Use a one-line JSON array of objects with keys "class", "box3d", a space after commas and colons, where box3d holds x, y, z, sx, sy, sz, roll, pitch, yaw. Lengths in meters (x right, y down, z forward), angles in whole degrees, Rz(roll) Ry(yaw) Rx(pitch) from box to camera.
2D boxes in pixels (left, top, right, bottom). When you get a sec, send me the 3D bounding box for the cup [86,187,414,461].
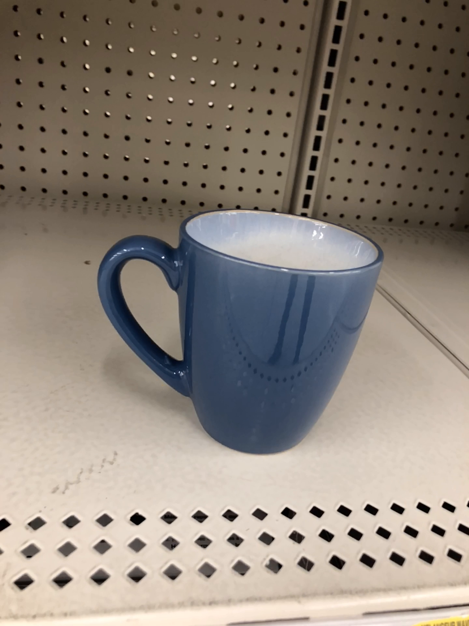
[{"class": "cup", "box3d": [-0.003, 0.002, 0.262, 0.127, 0.098, 0.097, 3, 25, -10]}]
